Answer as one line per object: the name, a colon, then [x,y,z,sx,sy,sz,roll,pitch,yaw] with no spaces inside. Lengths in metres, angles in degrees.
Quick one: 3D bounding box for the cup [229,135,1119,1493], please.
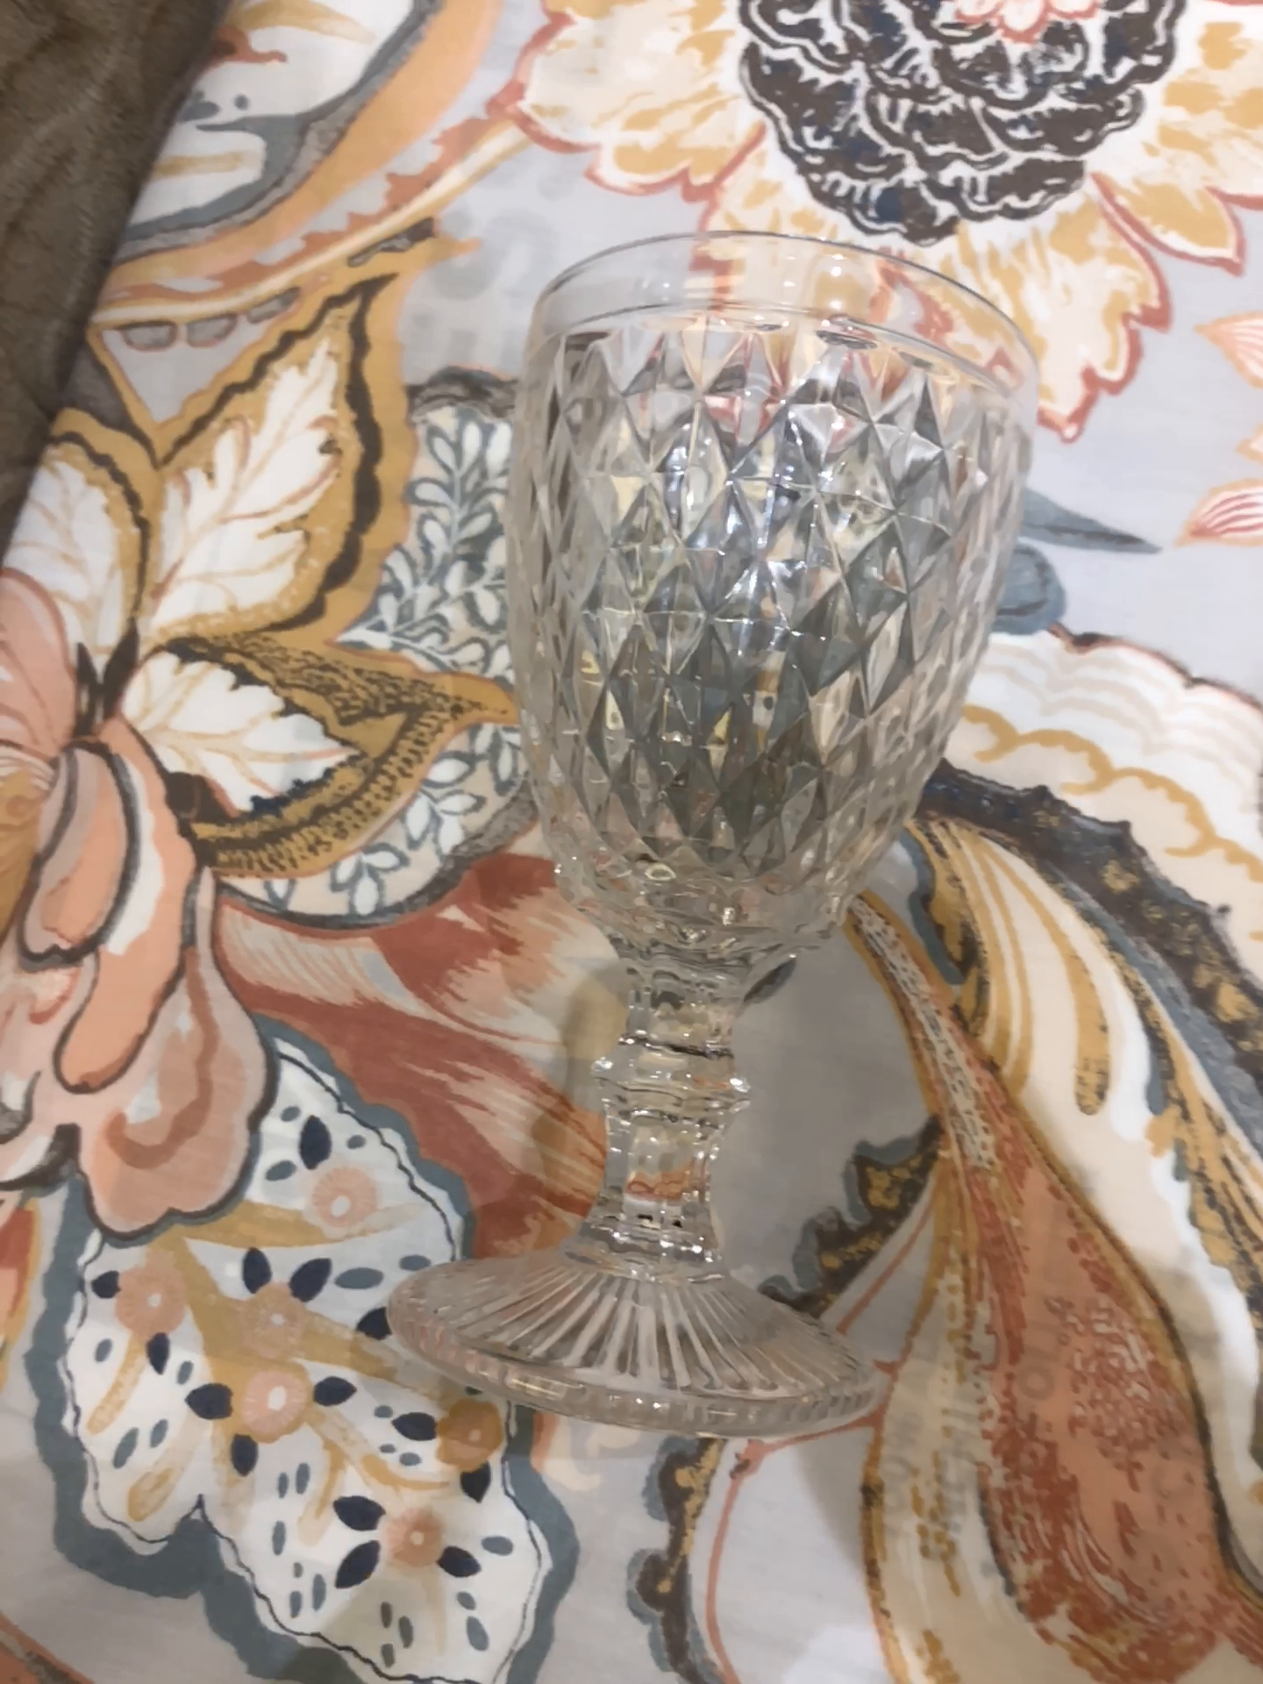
cup: [0.011,-0.005,0.225,0.090,0.080,0.170,9,81,5]
